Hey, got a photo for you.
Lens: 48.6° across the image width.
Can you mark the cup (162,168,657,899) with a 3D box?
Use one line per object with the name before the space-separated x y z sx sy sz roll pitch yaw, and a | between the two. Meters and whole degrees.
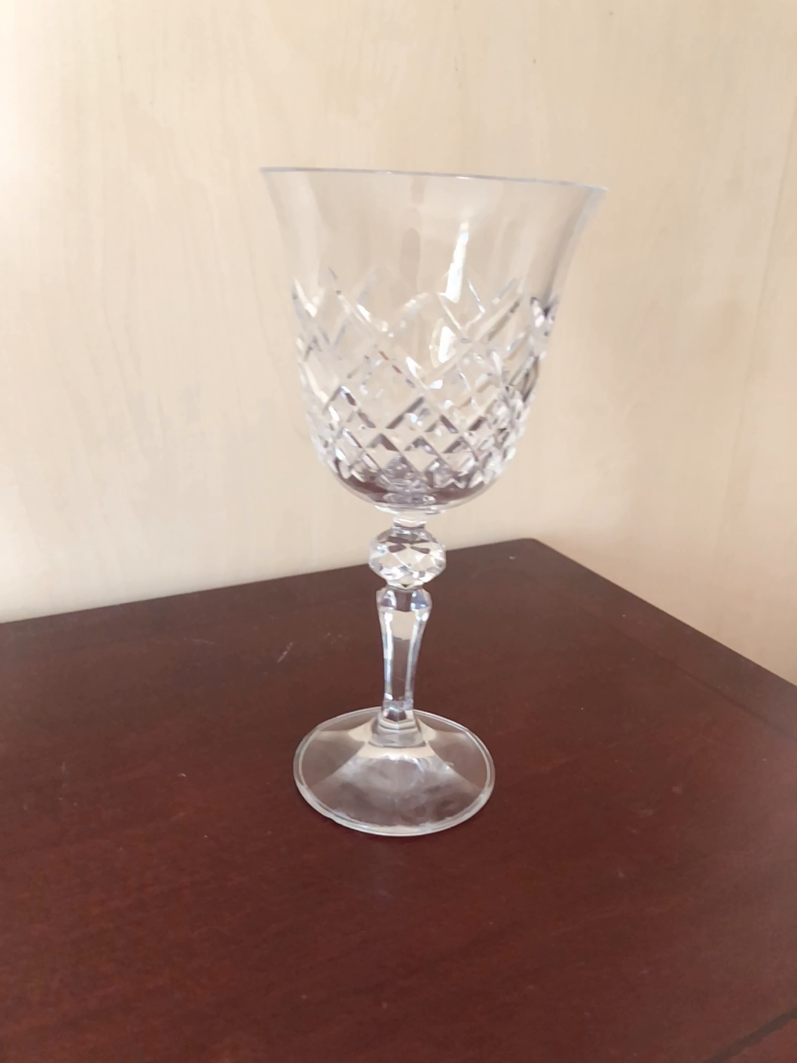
cup | 0.002 -0.009 0.256 0.091 0.171 0.092 3 20 -1
